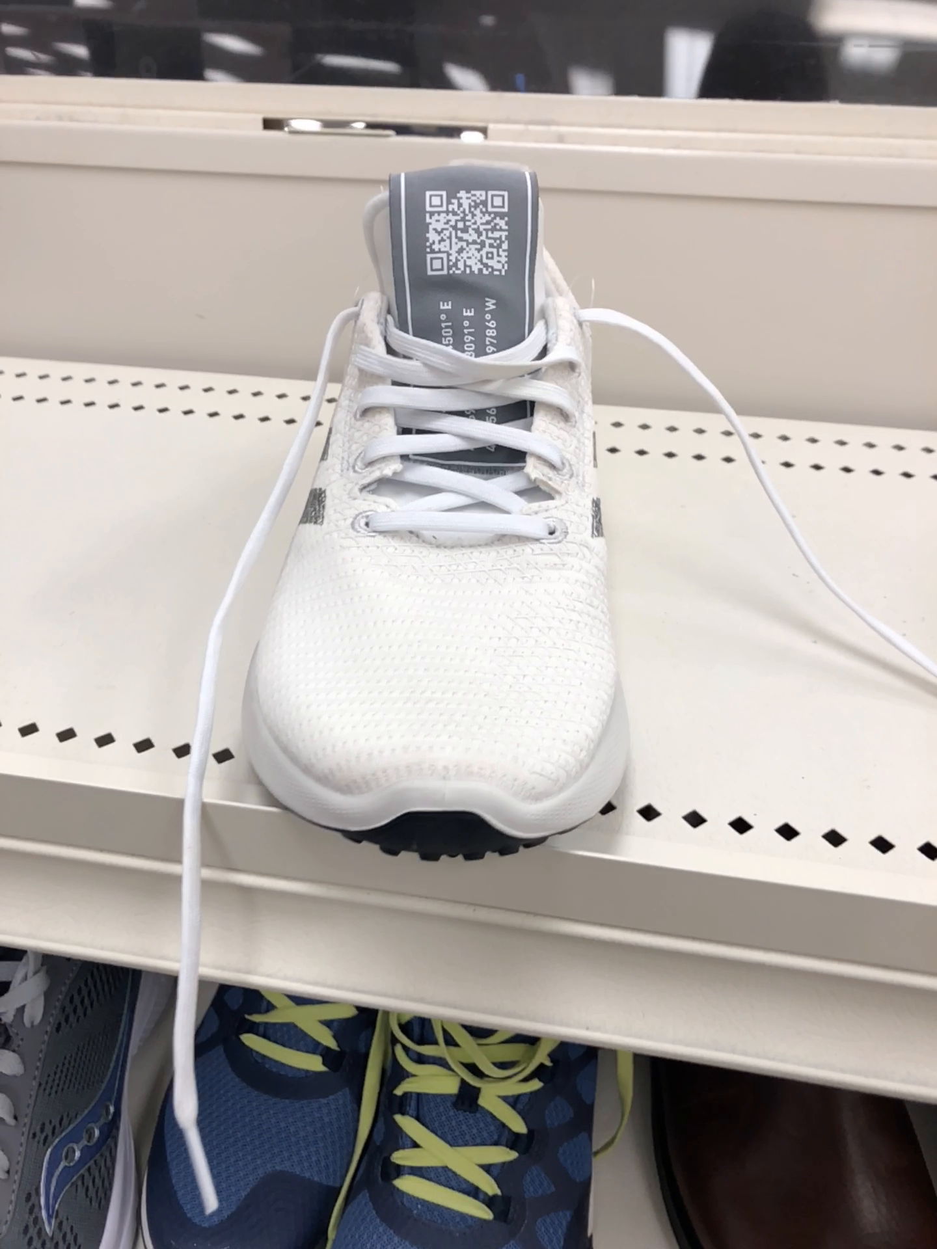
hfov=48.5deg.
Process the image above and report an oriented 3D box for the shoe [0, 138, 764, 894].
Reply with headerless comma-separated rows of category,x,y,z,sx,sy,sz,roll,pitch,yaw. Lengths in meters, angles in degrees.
shoe,-0.006,-0.091,0.370,0.128,0.139,0.383,3,26,3
